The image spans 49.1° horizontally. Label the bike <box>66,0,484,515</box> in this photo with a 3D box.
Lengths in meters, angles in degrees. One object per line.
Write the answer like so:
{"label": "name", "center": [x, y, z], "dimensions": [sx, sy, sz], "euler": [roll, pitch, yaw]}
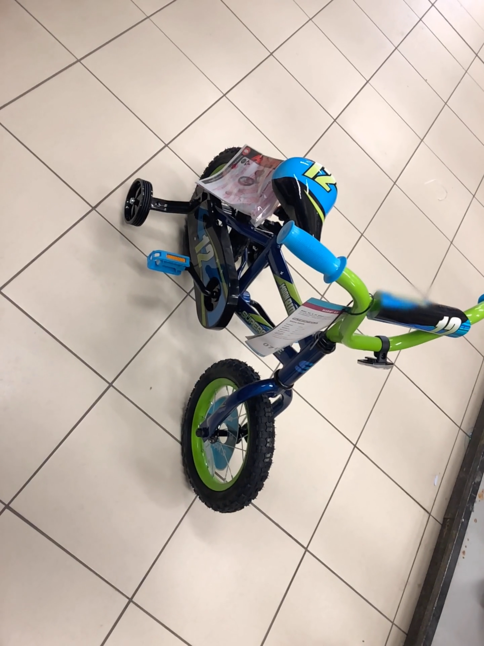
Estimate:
{"label": "bike", "center": [0.065, -0.082, 0.988], "dimensions": [0.549, 0.676, 0.795], "euler": [9, 68, -27]}
